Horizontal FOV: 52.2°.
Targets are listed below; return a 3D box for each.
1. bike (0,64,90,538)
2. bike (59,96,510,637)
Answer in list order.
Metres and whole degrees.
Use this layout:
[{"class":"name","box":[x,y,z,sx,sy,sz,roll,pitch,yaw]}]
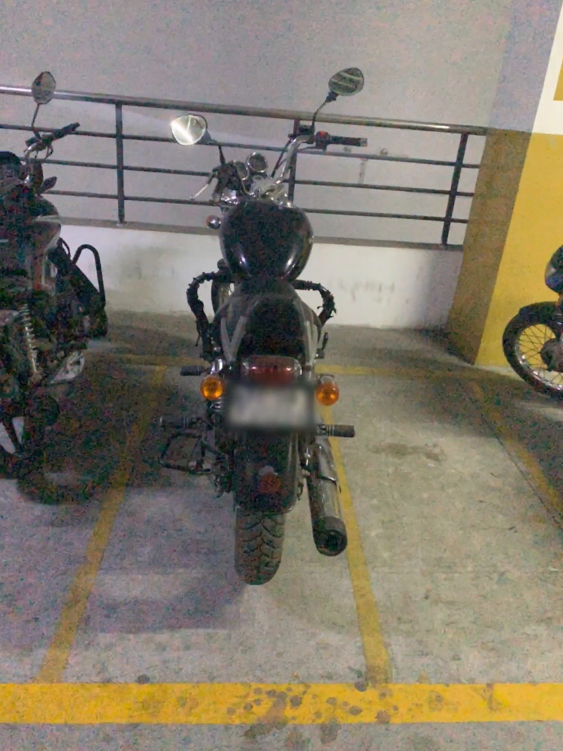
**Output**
[{"class":"bike","box":[-1.324,-0.472,2.406,0.719,1.276,1.573,2,30,-7]},{"class":"bike","box":[-0.191,-0.261,2.122,0.851,1.231,1.808,0,27,-10]}]
